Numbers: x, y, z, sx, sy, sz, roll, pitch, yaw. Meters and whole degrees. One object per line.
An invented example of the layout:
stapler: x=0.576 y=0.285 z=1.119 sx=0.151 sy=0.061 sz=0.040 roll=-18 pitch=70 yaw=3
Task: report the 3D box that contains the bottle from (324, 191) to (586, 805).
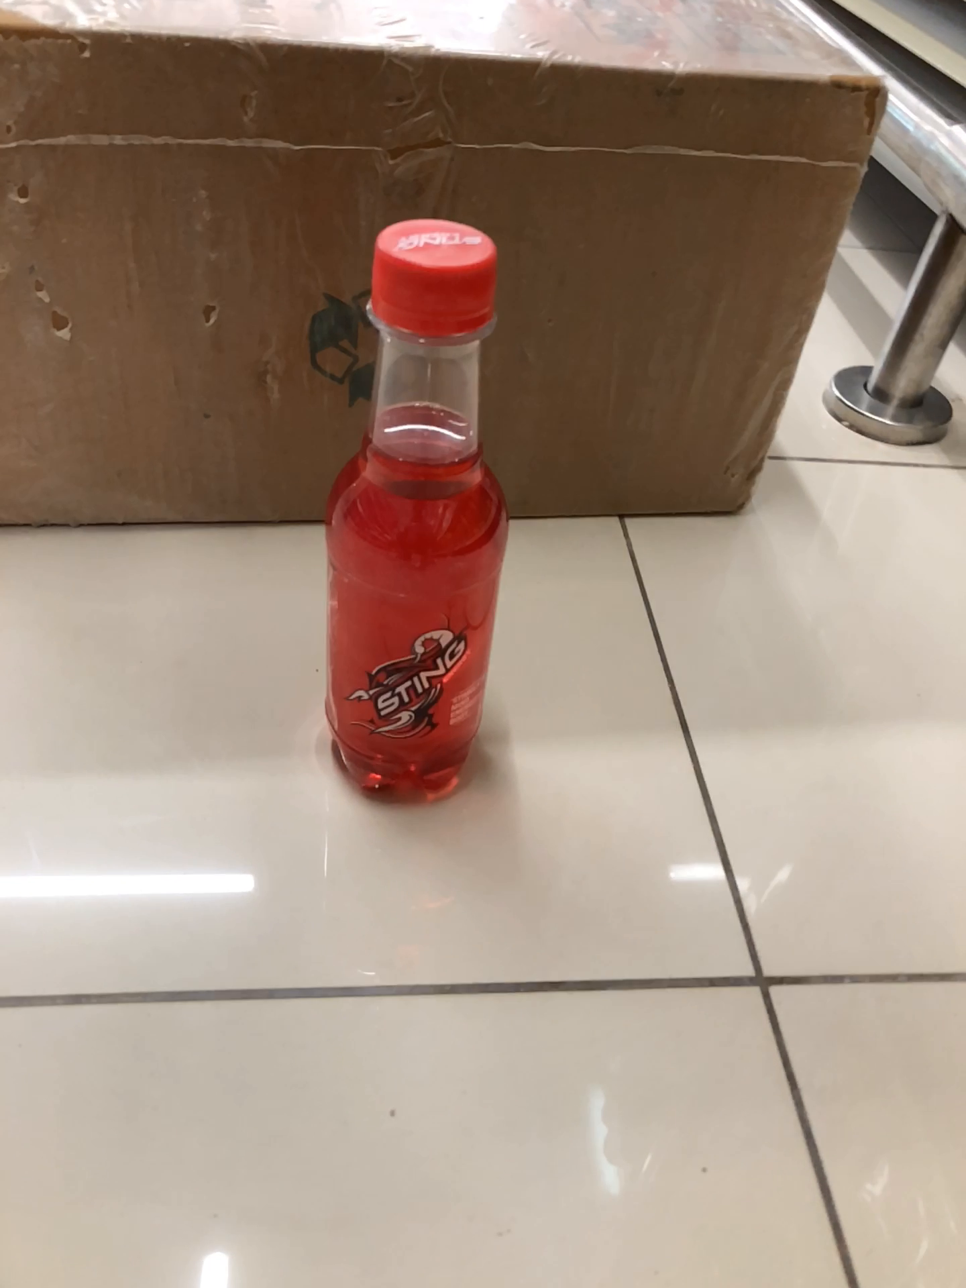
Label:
bottle: x=-0.018 y=-0.034 z=0.325 sx=0.060 sy=0.179 sz=0.060 roll=4 pitch=40 yaw=-4
